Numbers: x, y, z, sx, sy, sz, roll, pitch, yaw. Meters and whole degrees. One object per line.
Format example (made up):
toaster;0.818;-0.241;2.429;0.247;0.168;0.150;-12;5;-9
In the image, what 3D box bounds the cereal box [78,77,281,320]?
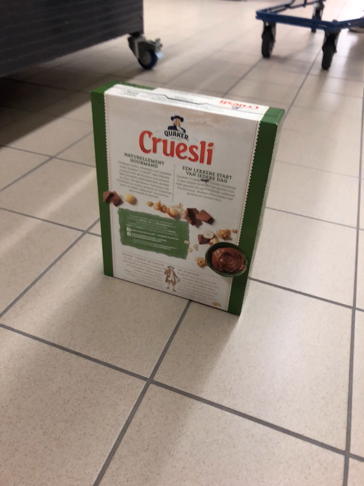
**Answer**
cereal box;-0.010;-0.045;0.464;0.190;0.239;0.060;16;37;15
